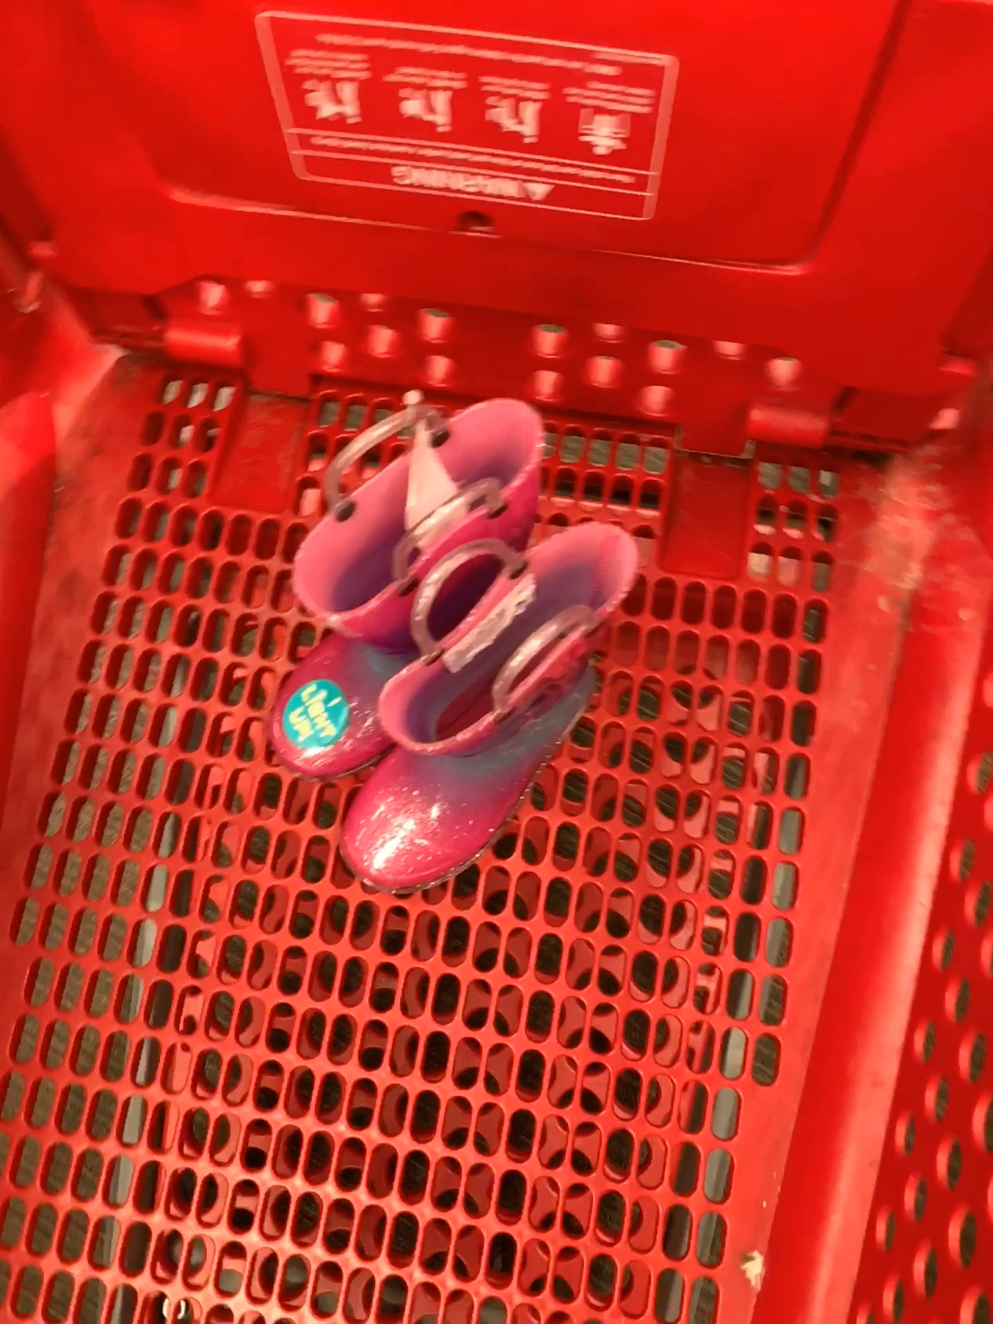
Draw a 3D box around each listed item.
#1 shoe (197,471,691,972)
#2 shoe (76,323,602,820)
[{"bbox_3d":[-0.015,0.030,0.445,0.070,0.140,0.190,44,86,9],"label":"shoe"},{"bbox_3d":[-0.054,-0.026,0.445,0.200,0.140,0.070,-42,81,-3],"label":"shoe"}]
